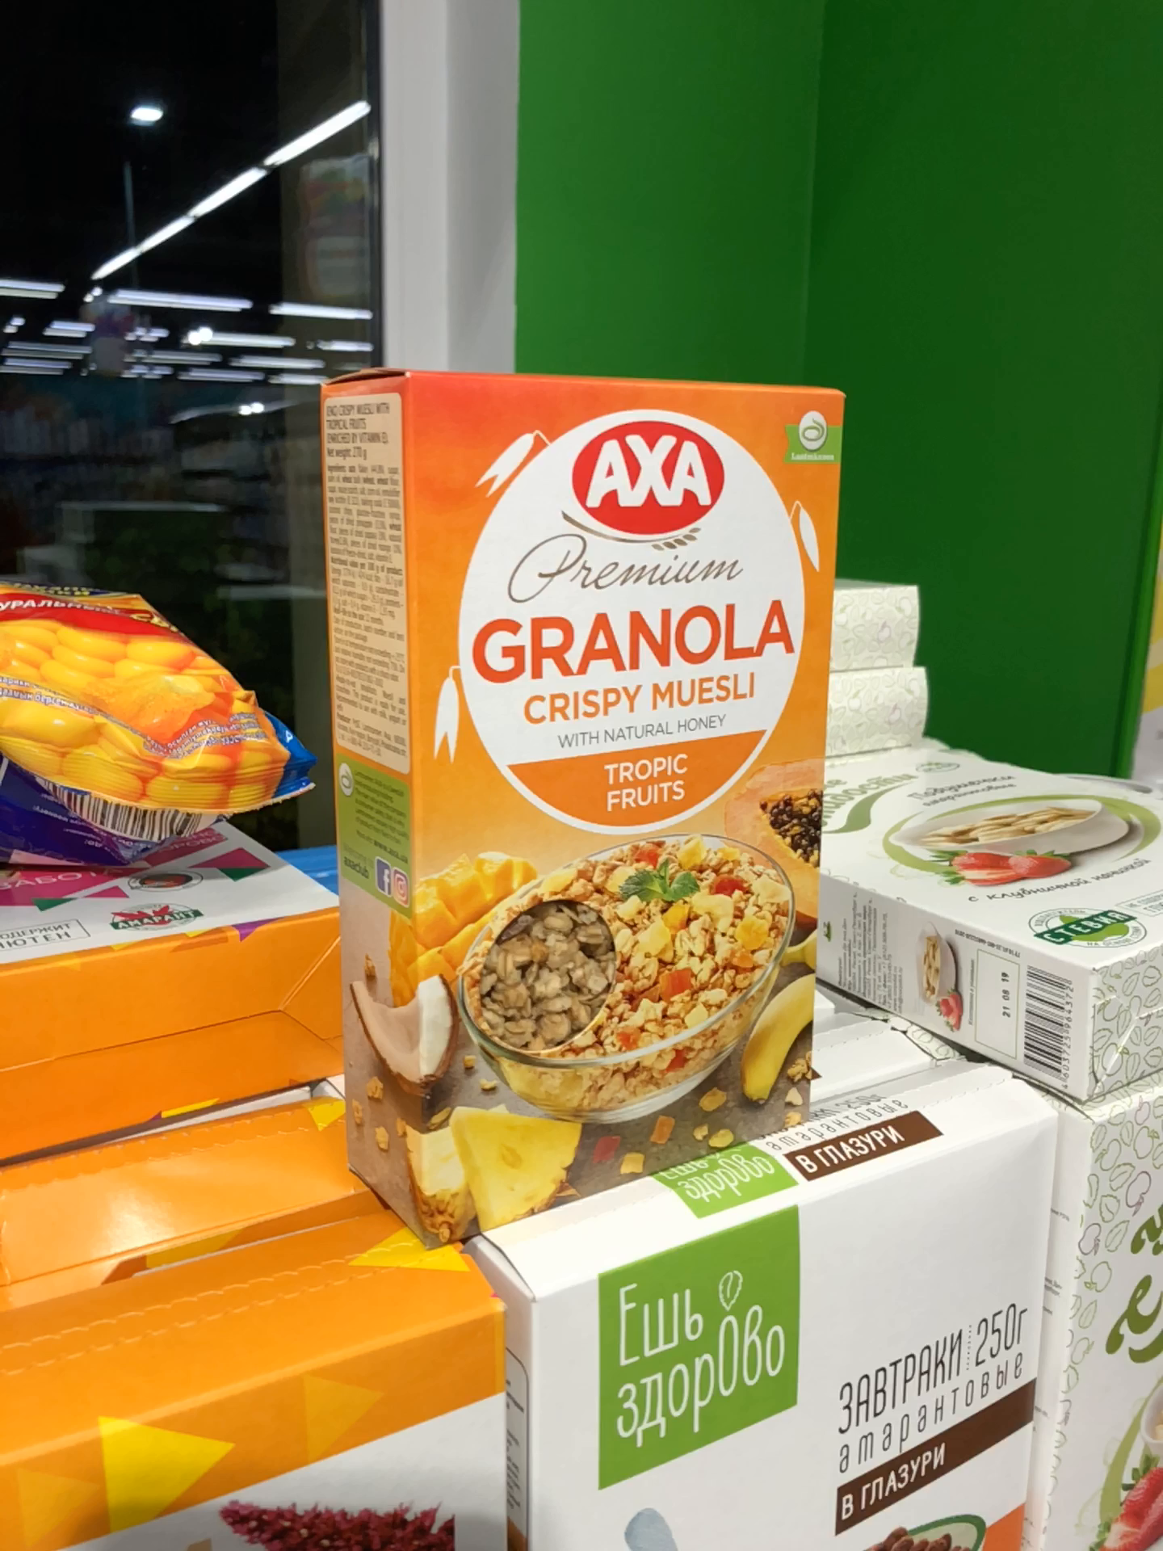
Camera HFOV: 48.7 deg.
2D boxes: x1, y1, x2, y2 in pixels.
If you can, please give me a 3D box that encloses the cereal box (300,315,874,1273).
[{"bbox_3d":[0.004,0.000,0.345,0.140,0.219,0.050,-7,15,-33],"label":"cereal box"}]
